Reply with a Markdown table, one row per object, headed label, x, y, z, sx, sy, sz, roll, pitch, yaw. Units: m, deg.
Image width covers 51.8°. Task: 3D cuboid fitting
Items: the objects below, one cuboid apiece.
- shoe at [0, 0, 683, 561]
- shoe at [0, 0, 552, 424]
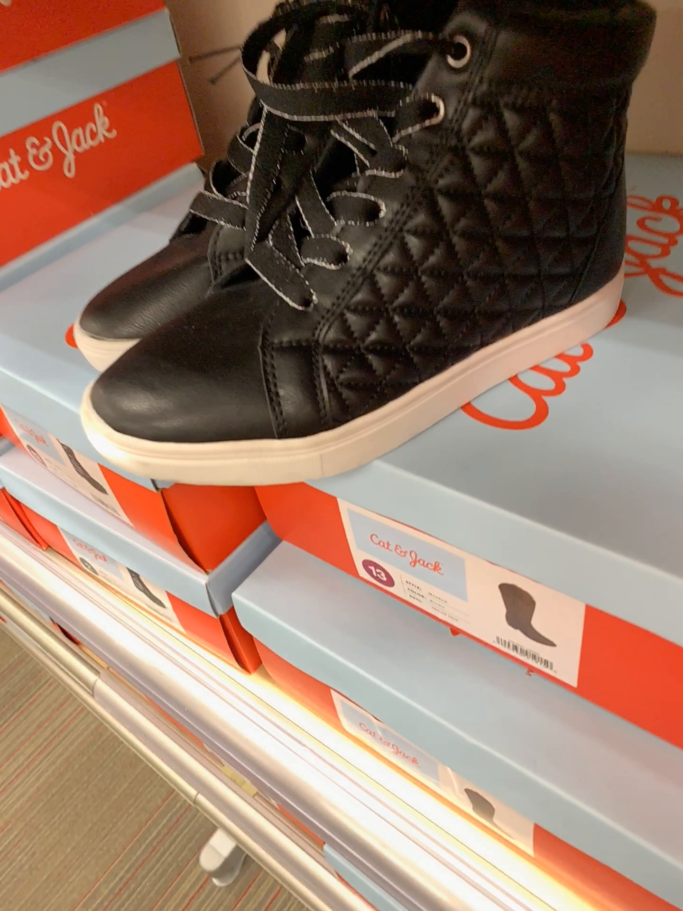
| label | x | y | z | sx | sy | sz | roll | pitch | yaw |
| --- | --- | --- | --- | --- | --- | --- | --- | --- | --- |
| shoe | 0.002 | -0.084 | 0.257 | 0.230 | 0.109 | 0.101 | -28 | 44 | -13 |
| shoe | -0.027 | -0.136 | 0.329 | 0.230 | 0.119 | 0.101 | -28 | 44 | -13 |
